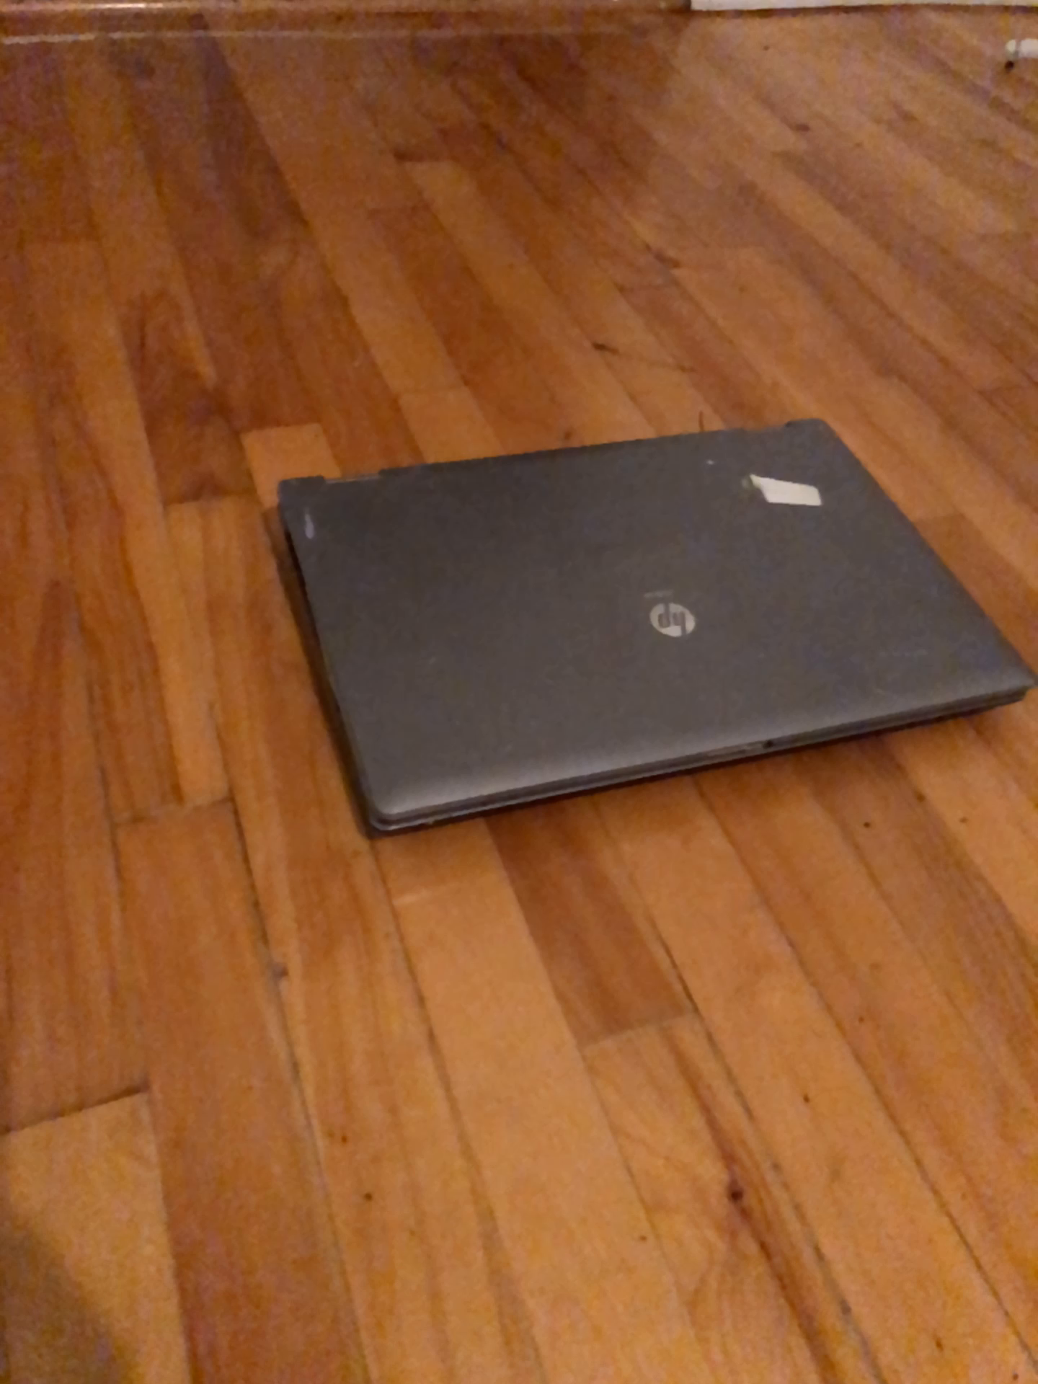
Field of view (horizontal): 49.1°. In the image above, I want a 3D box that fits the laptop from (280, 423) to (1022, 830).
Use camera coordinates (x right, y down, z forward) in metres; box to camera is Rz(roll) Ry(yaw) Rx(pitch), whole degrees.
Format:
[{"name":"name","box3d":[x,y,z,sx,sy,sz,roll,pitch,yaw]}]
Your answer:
[{"name":"laptop","box3d":[0.068,-0.059,0.648,0.363,0.010,0.242,-10,51,-17]}]
